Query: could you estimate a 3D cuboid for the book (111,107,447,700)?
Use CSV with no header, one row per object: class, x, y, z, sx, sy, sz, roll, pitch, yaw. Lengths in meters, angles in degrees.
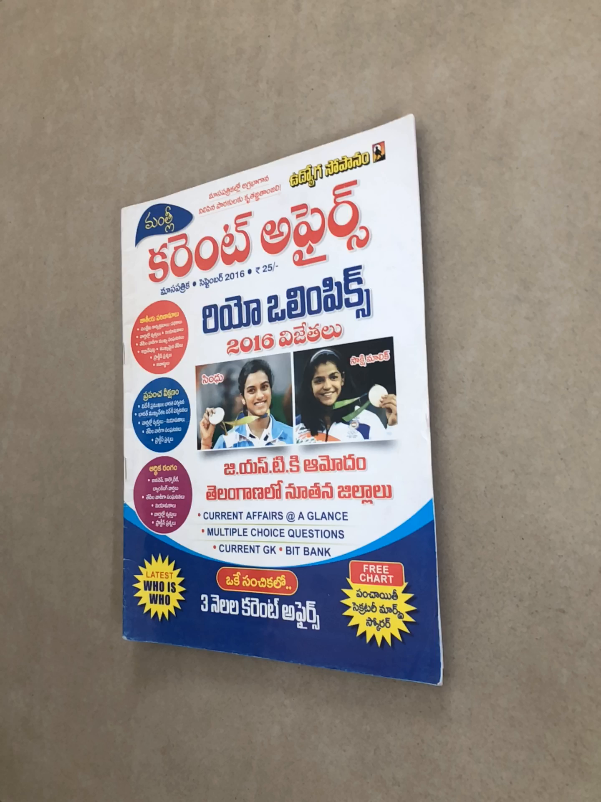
book,-0.027,0.003,0.348,0.201,0.010,0.260,-5,84,33
